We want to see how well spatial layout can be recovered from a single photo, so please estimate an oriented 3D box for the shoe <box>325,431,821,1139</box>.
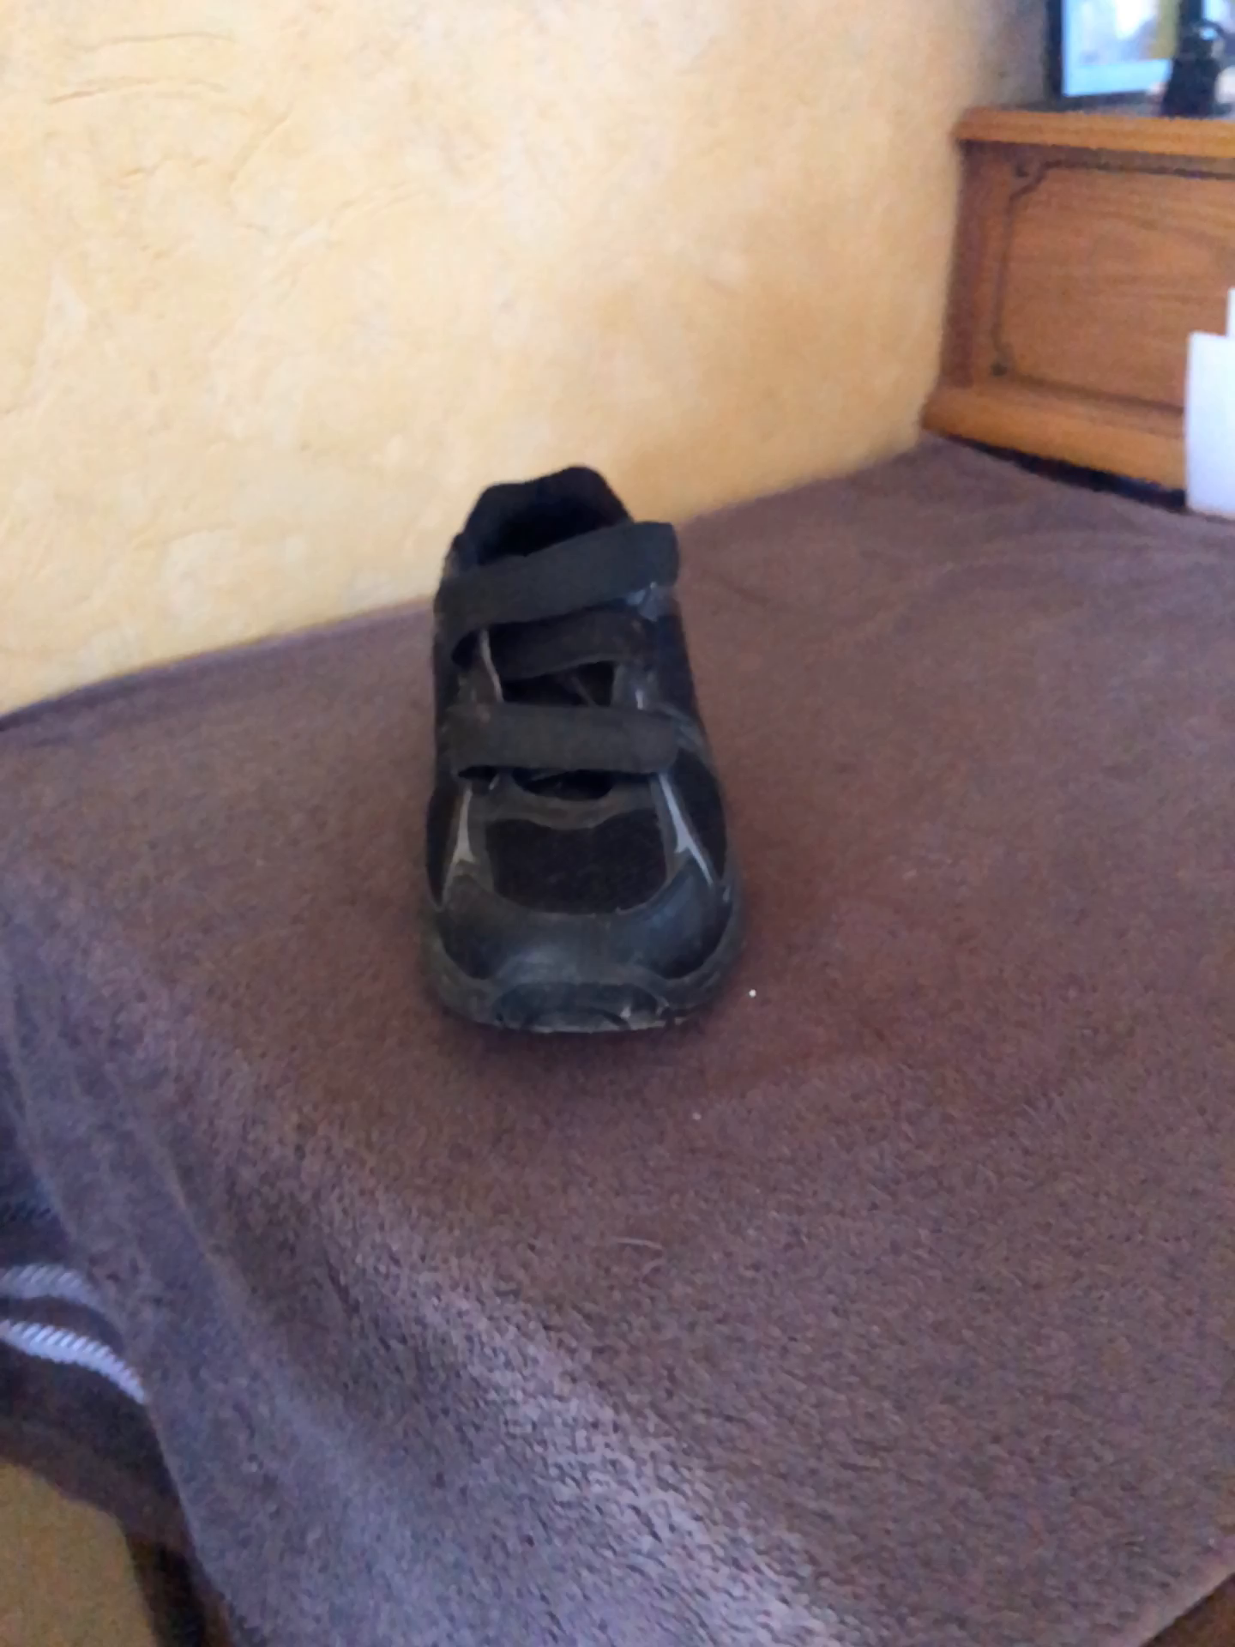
[{"bbox_3d":[-0.018,-0.036,0.448,0.110,0.109,0.272,-2,31,-3],"label":"shoe"}]
